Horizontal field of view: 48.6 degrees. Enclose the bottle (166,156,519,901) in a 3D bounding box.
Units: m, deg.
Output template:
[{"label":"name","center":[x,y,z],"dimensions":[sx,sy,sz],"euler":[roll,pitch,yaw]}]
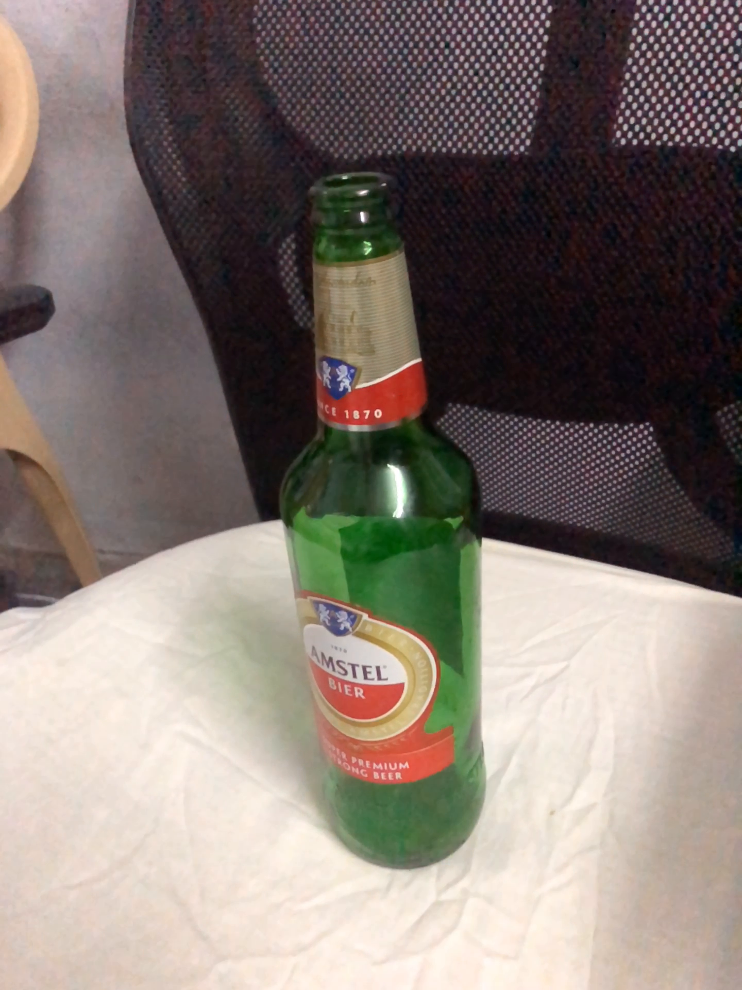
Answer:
[{"label":"bottle","center":[0.001,0.030,0.306],"dimensions":[0.080,0.279,0.060],"euler":[13,37,23]}]
